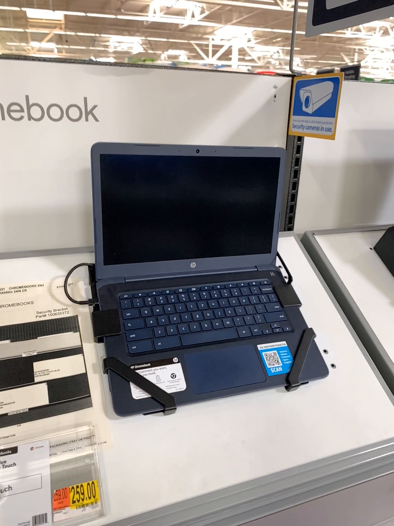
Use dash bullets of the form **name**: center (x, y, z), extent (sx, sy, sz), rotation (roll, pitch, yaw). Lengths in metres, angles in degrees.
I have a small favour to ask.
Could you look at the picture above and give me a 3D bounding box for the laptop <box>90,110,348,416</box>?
- **laptop**: center (0.015, -0.038, 0.634), extent (0.317, 0.189, 0.324), rotation (-5, 43, -18)
